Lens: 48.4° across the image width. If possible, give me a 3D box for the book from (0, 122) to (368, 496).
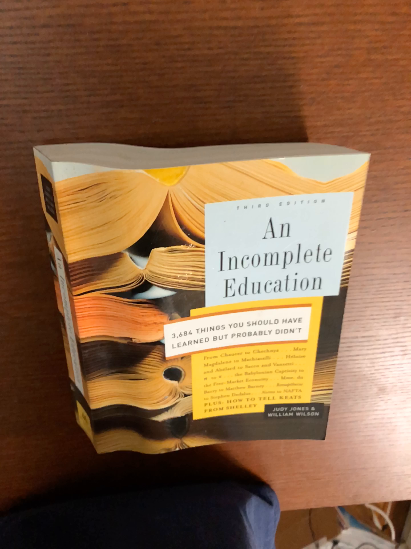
[{"bbox_3d":[-0.010,0.031,0.335,0.210,0.060,0.251,-8,119,-10],"label":"book"}]
